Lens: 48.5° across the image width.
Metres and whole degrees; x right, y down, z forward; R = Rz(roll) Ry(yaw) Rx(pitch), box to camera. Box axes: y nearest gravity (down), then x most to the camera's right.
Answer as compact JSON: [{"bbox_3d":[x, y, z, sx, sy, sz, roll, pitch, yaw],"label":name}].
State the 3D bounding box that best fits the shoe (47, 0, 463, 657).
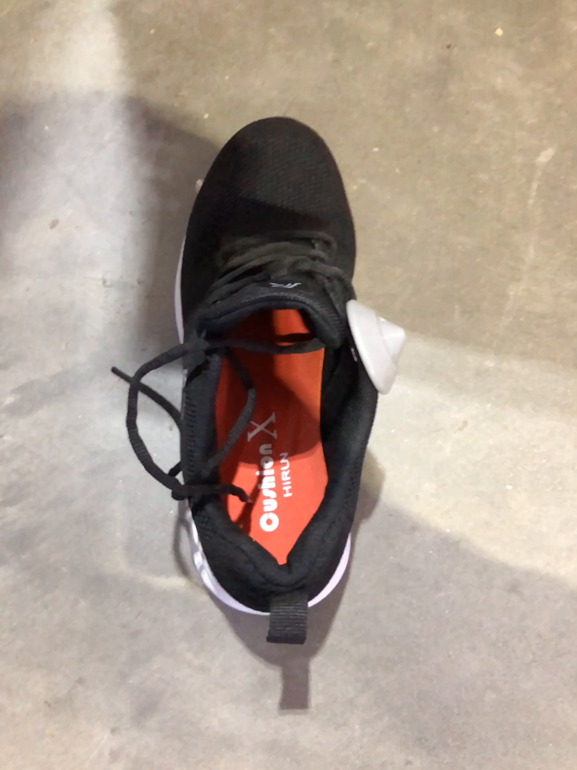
[{"bbox_3d":[-0.009,-0.035,0.296,0.130,0.120,0.280,1,74,-1],"label":"shoe"}]
